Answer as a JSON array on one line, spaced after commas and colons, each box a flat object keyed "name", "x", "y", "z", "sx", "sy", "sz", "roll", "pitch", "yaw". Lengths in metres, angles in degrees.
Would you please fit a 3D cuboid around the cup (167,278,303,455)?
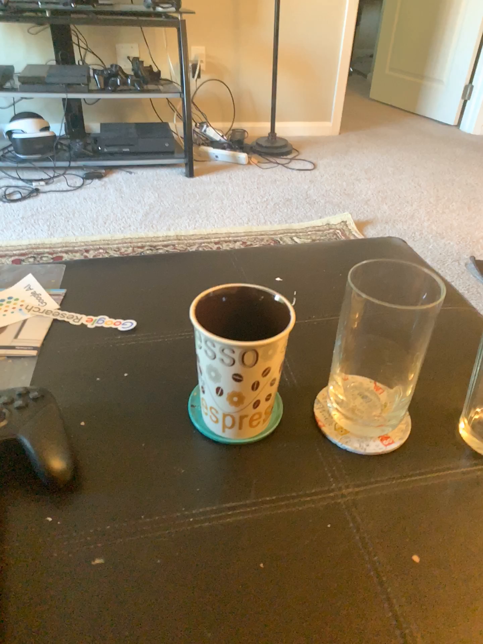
[{"name": "cup", "x": -0.003, "y": 0.034, "z": 0.410, "sx": 0.090, "sy": 0.099, "sz": 0.090, "roll": 2, "pitch": 36, "yaw": -1}]

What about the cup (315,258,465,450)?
[{"name": "cup", "x": 0.111, "y": 0.027, "z": 0.404, "sx": 0.080, "sy": 0.129, "sz": 0.080, "roll": 2, "pitch": 36, "yaw": -1}]

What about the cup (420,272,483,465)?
[{"name": "cup", "x": 0.217, "y": 0.040, "z": 0.408, "sx": 0.080, "sy": 0.139, "sz": 0.080, "roll": 2, "pitch": 36, "yaw": -1}]
